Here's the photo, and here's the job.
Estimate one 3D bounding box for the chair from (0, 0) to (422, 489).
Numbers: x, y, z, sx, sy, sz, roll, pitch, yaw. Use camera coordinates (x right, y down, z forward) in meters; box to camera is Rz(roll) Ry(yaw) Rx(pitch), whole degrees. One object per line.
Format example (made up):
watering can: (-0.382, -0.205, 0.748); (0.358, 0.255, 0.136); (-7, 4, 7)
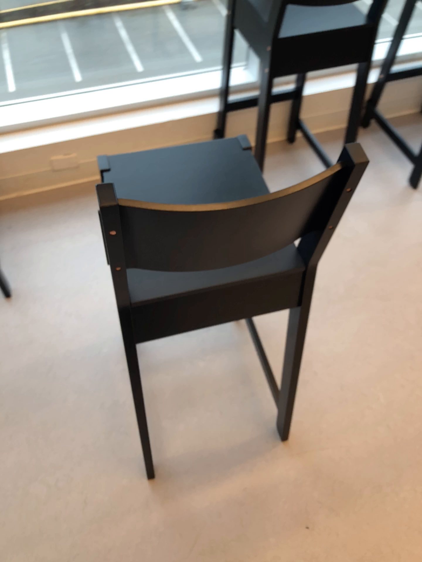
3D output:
chair: (-0.030, -0.023, 1.061); (0.550, 0.995, 0.583); (-12, 55, -11)
